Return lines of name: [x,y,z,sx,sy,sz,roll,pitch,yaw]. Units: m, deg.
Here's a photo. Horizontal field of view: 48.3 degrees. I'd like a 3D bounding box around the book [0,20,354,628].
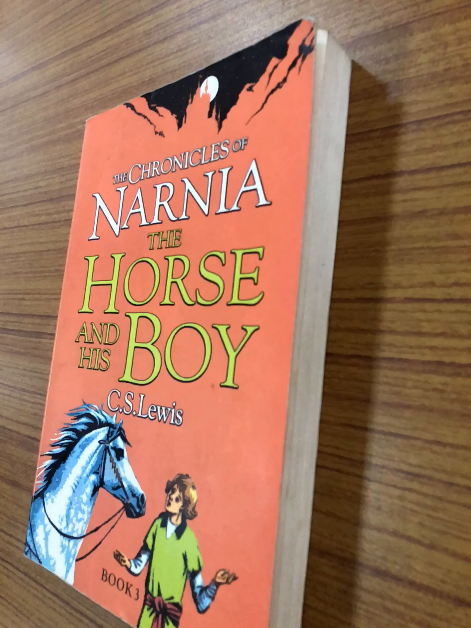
book: [-0.030,0.013,0.192,0.131,0.030,0.190,1,82,41]
